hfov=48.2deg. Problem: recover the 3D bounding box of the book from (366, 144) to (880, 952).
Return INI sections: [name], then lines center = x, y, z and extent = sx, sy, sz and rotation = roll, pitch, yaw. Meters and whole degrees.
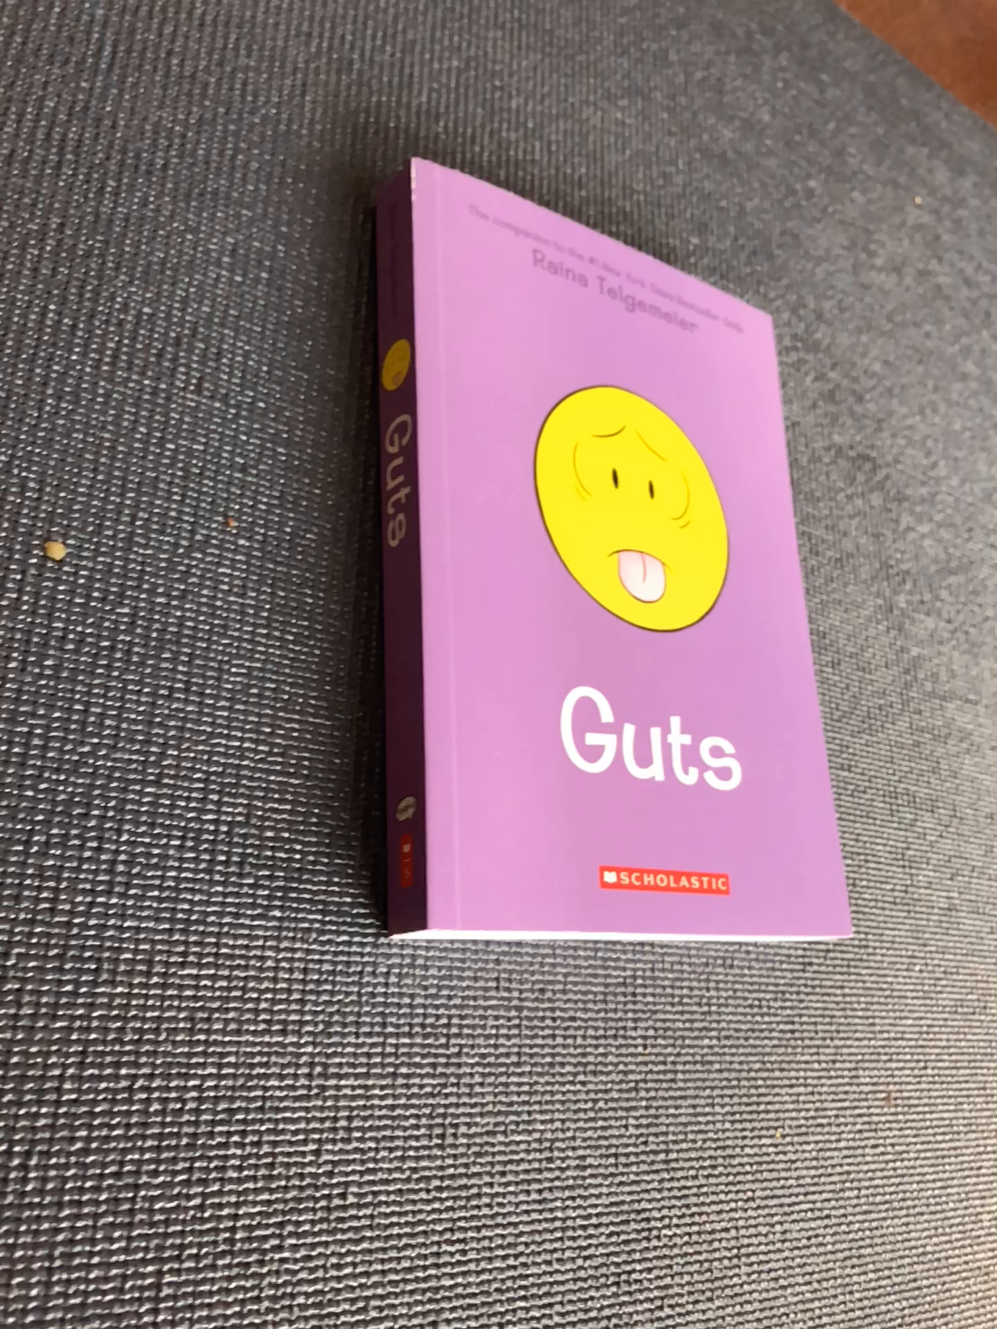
[book]
center = 0.034, -0.026, 0.307
extent = 0.144, 0.024, 0.202
rotation = 10, 67, -34
